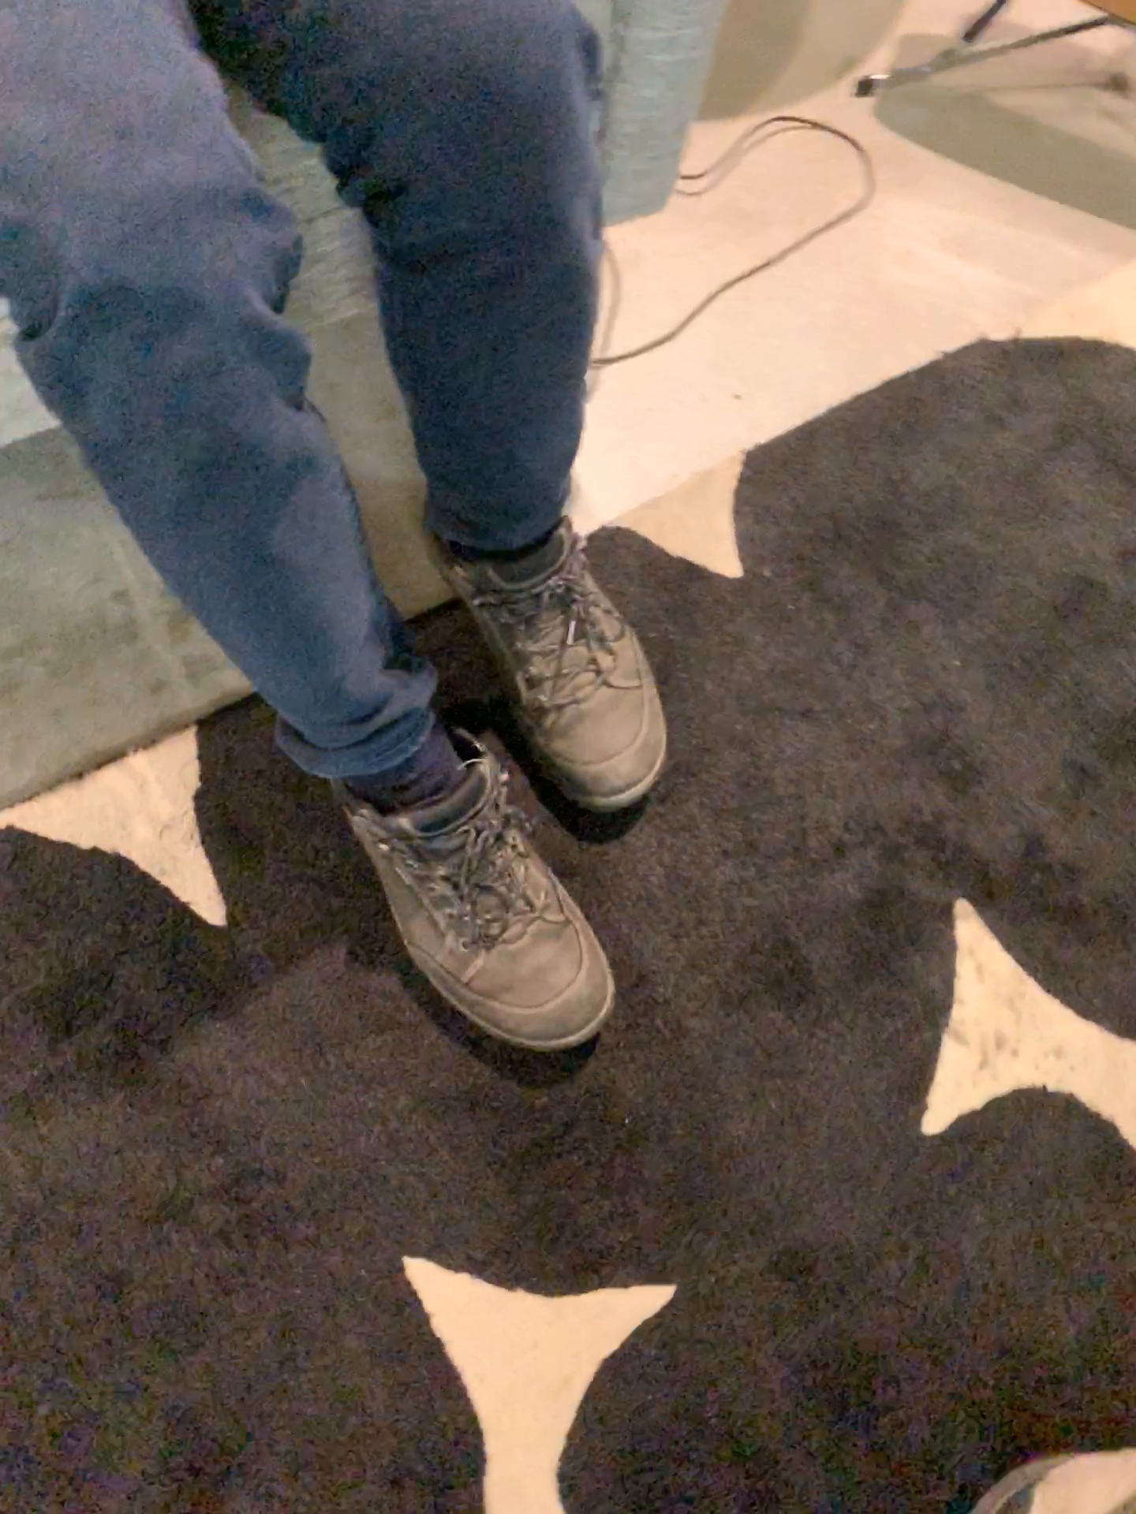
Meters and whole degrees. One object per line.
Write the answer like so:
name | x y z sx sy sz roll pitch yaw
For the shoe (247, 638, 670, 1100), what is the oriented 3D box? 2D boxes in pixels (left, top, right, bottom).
shoe | -0.075 0.074 0.778 0.121 0.077 0.287 -37 79 -15

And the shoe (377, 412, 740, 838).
shoe | -0.013 -0.098 0.845 0.119 0.077 0.285 -31 77 -13
